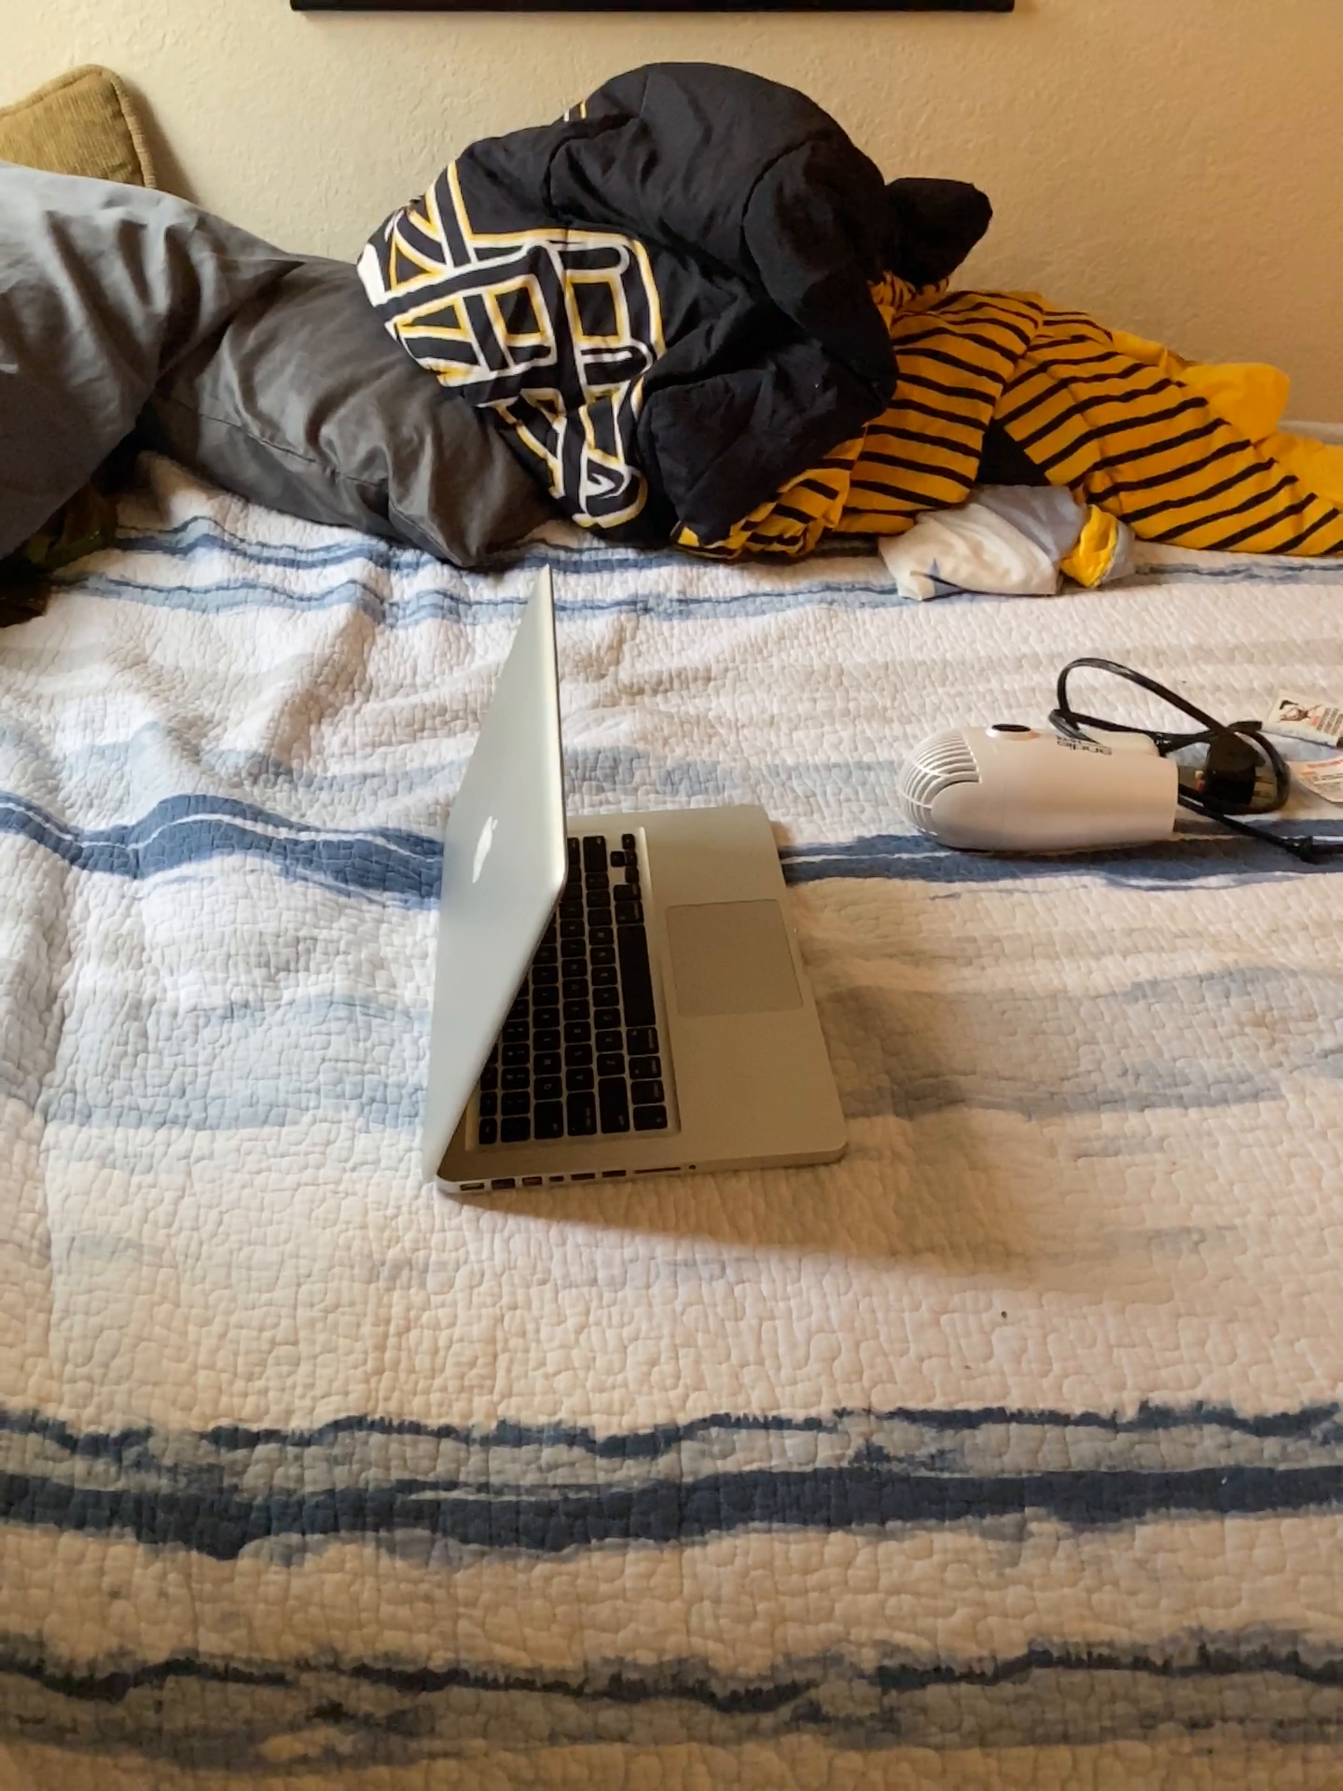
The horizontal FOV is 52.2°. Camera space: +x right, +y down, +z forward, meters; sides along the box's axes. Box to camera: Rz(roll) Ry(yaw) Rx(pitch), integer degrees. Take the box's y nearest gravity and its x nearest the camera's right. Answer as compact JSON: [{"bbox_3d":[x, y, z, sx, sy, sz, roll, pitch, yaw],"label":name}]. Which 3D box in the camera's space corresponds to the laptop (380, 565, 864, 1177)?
[{"bbox_3d":[-0.032,-0.027,0.781,0.214,0.188,0.302,-4,40,-2],"label":"laptop"}]
